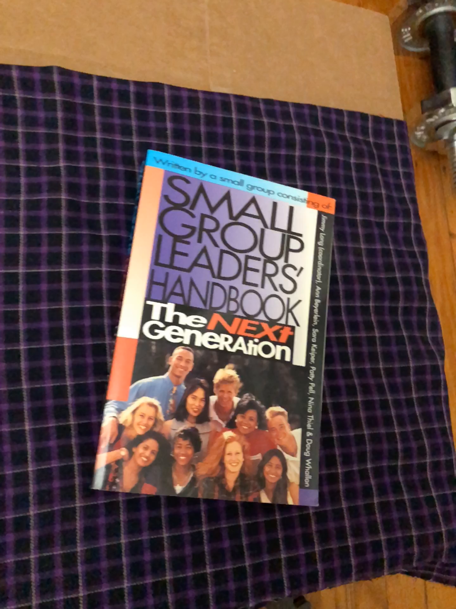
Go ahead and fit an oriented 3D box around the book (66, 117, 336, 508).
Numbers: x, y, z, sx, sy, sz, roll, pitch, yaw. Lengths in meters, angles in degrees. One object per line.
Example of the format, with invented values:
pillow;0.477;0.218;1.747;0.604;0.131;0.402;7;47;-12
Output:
book;-0.008;0.007;0.315;0.150;0.030;0.220;8;76;-18
